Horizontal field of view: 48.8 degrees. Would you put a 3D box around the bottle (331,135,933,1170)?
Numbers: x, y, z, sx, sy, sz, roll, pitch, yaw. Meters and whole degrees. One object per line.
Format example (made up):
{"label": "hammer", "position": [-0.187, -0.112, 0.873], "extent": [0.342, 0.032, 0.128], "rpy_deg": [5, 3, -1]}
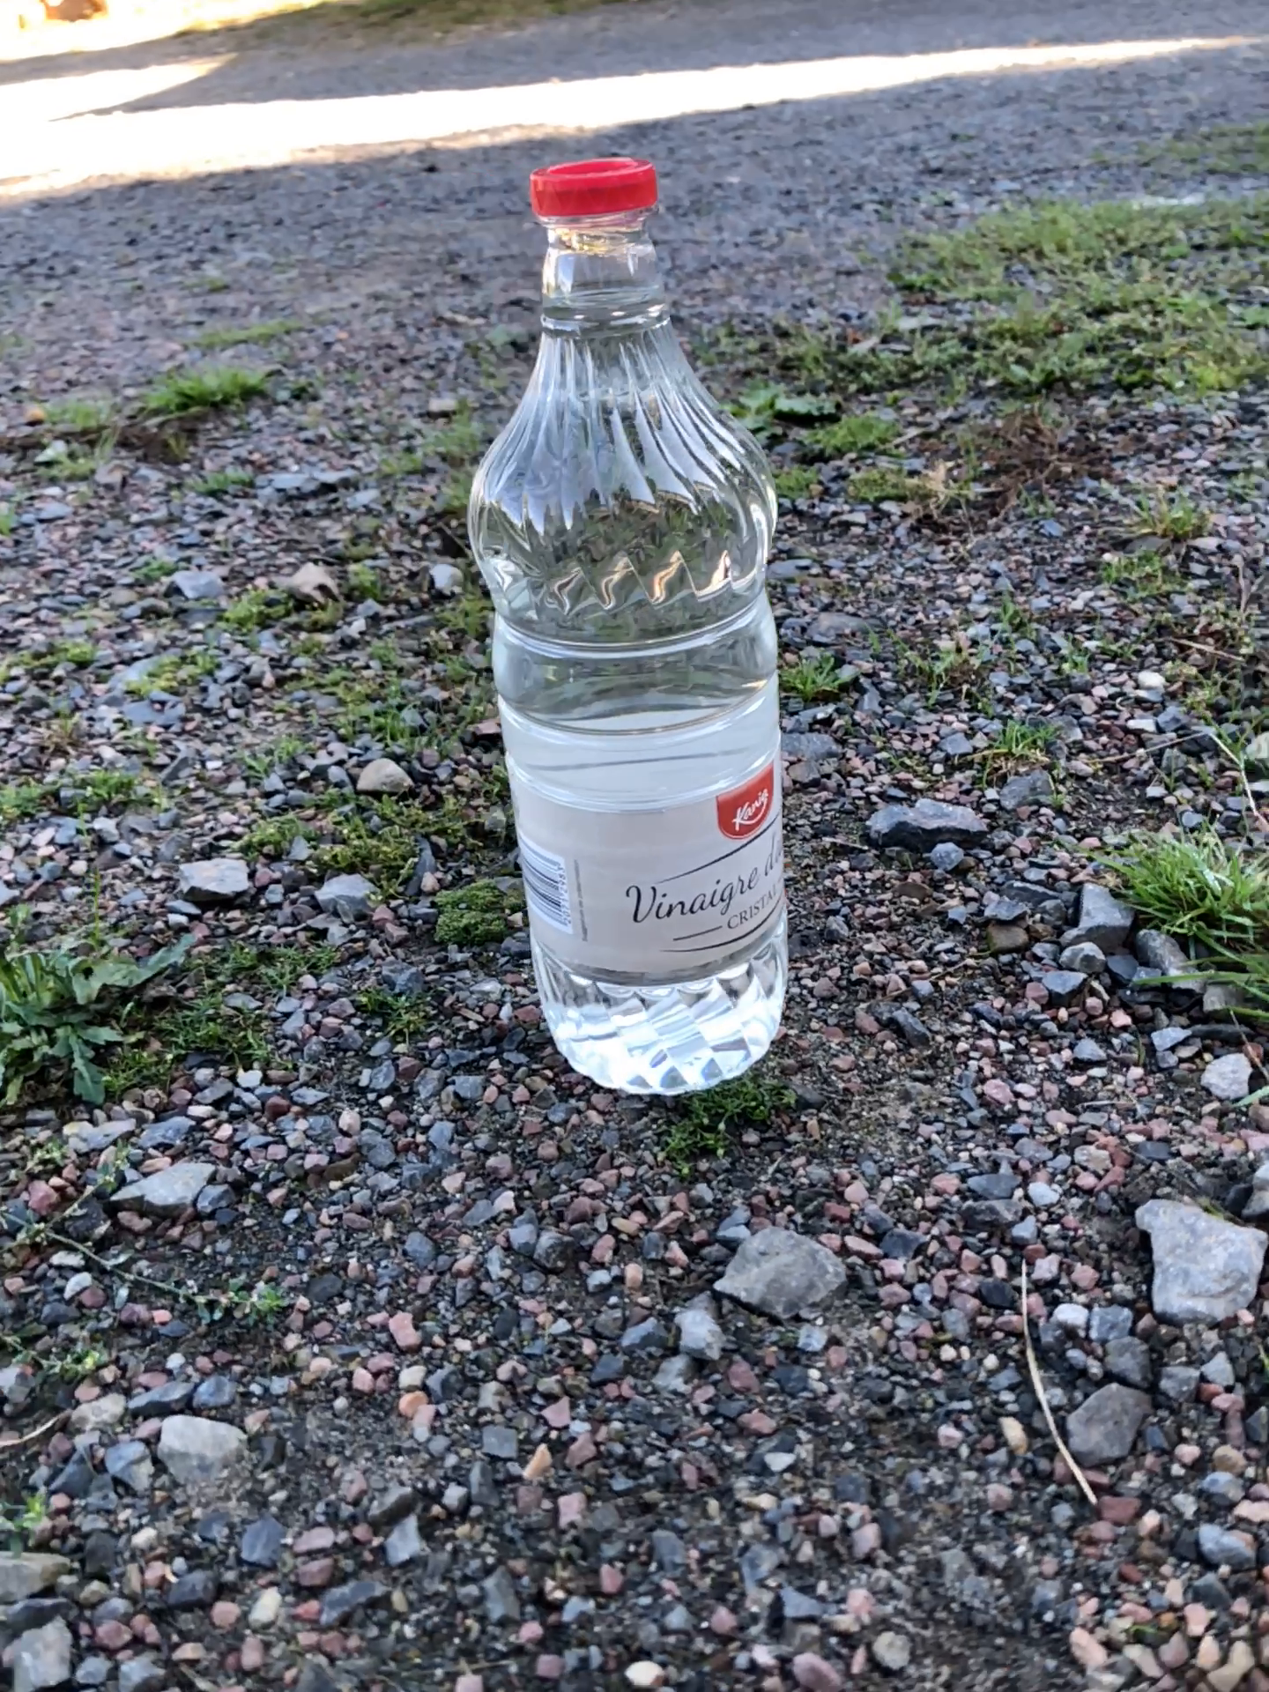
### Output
{"label": "bottle", "position": [0.008, -0.053, 0.389], "extent": [0.100, 0.249, 0.100], "rpy_deg": [-4, 30, 2]}
